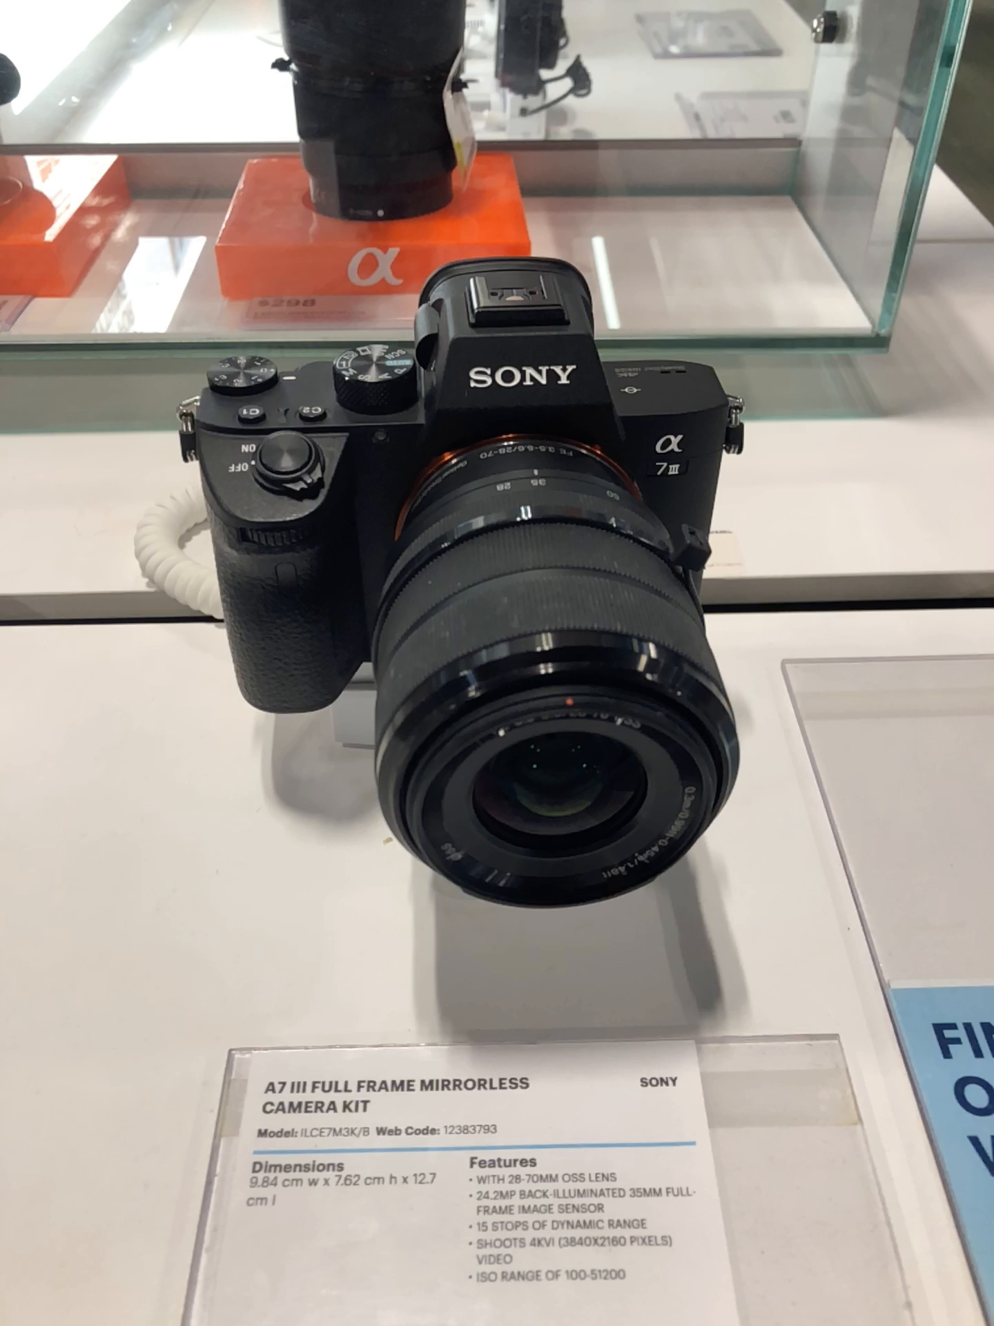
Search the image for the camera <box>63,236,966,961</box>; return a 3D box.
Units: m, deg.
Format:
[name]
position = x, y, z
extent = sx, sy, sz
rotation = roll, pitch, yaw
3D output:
[camera]
position = -0.001, -0.027, 0.256
extent = 0.140, 0.080, 0.161
rotation = -3, 42, -2
